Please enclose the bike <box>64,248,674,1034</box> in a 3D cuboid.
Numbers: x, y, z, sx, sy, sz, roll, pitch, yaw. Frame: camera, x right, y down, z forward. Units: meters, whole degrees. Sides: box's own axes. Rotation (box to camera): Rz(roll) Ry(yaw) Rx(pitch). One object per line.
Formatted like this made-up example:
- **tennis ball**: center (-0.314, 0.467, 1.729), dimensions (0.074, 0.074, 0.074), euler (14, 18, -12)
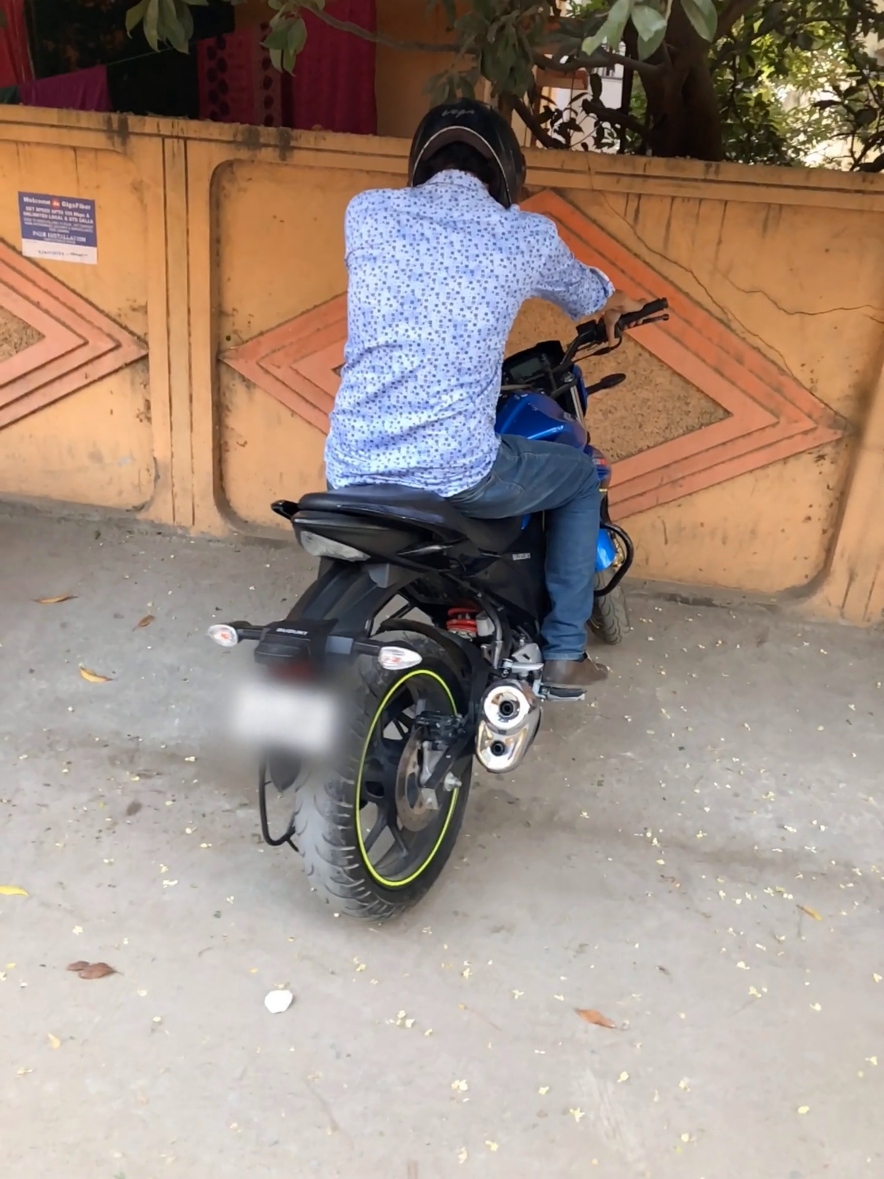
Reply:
- **bike**: center (-0.008, -0.168, 2.519), dimensions (0.794, 1.188, 1.897), euler (13, 25, 17)
